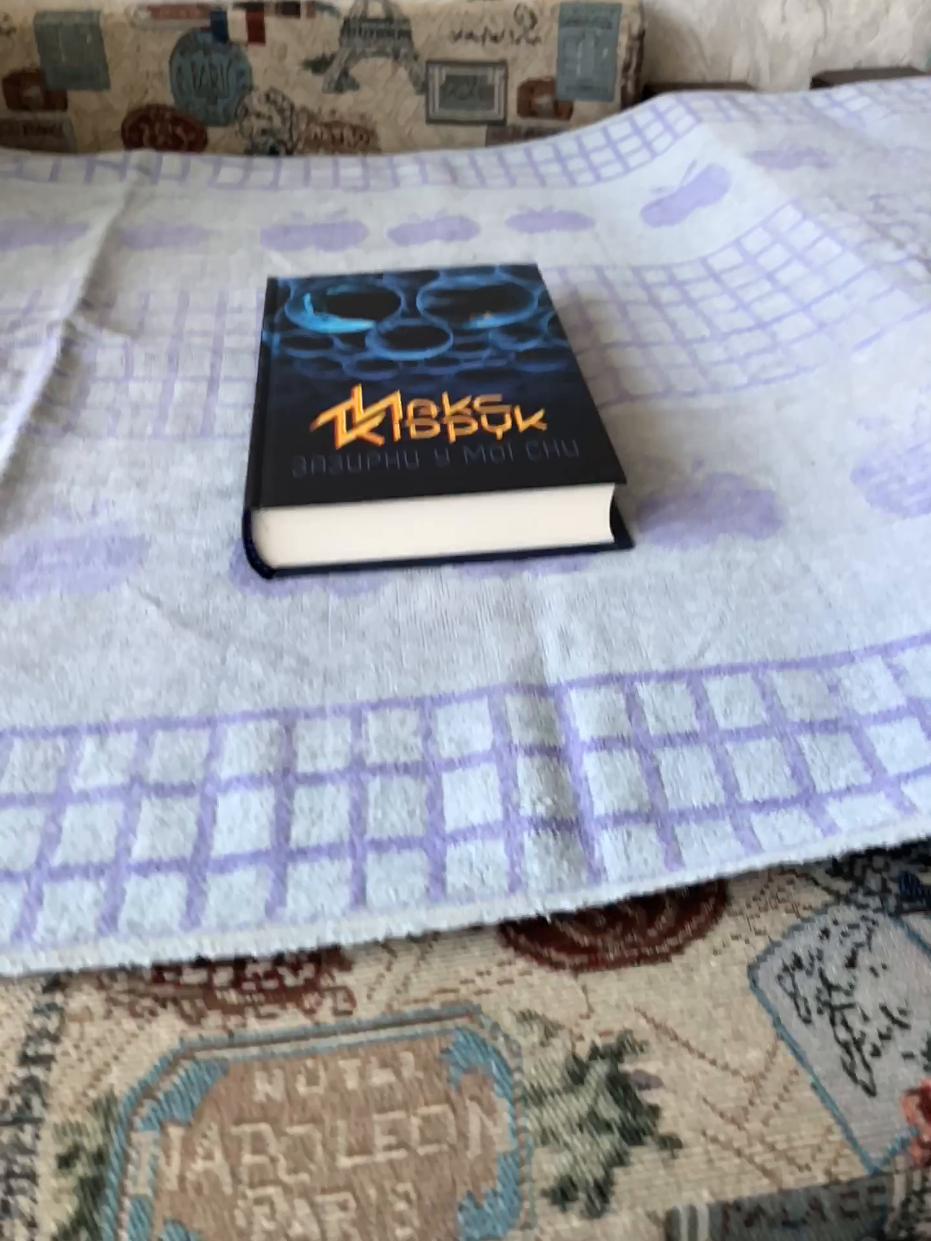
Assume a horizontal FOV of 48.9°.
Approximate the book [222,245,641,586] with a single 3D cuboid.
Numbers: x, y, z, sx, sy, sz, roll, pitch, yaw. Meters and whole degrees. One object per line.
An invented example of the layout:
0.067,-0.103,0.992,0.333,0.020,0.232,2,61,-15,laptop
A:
-0.021,-0.101,0.438,0.140,0.035,0.222,-4,39,-4,book
